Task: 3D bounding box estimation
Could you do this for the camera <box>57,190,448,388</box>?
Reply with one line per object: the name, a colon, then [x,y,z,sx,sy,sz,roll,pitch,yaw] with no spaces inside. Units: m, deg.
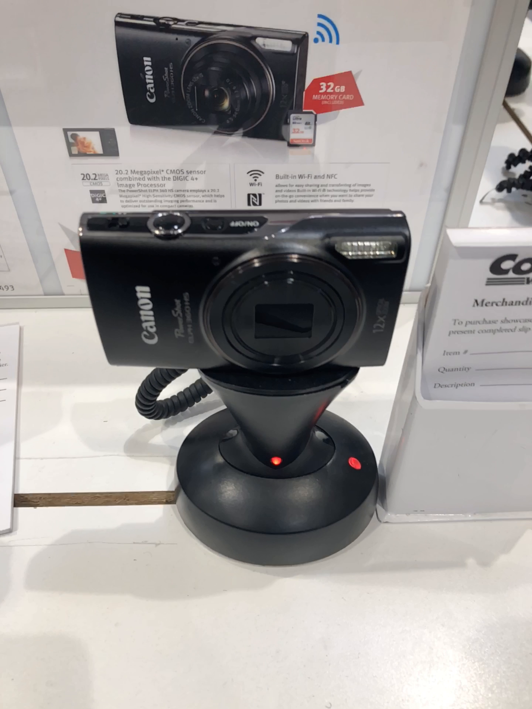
camera: [-0.004,-0.020,0.197,0.110,0.060,0.030,0,45,-1]
